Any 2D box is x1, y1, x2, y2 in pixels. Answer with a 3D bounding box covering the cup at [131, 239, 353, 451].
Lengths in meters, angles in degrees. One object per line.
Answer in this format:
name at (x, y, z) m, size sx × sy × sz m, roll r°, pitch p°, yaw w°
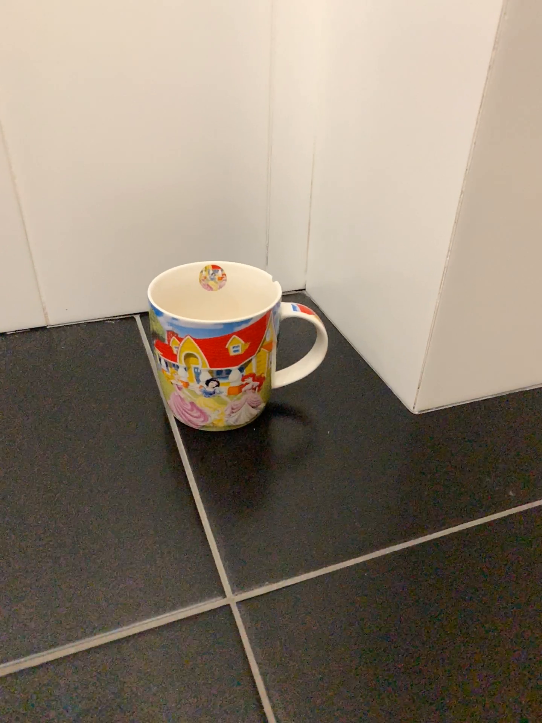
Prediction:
cup at (-0.023, -0.017, 0.397) m, size 0.124 × 0.099 × 0.086 m, roll -13°, pitch 37°, yaw -21°
